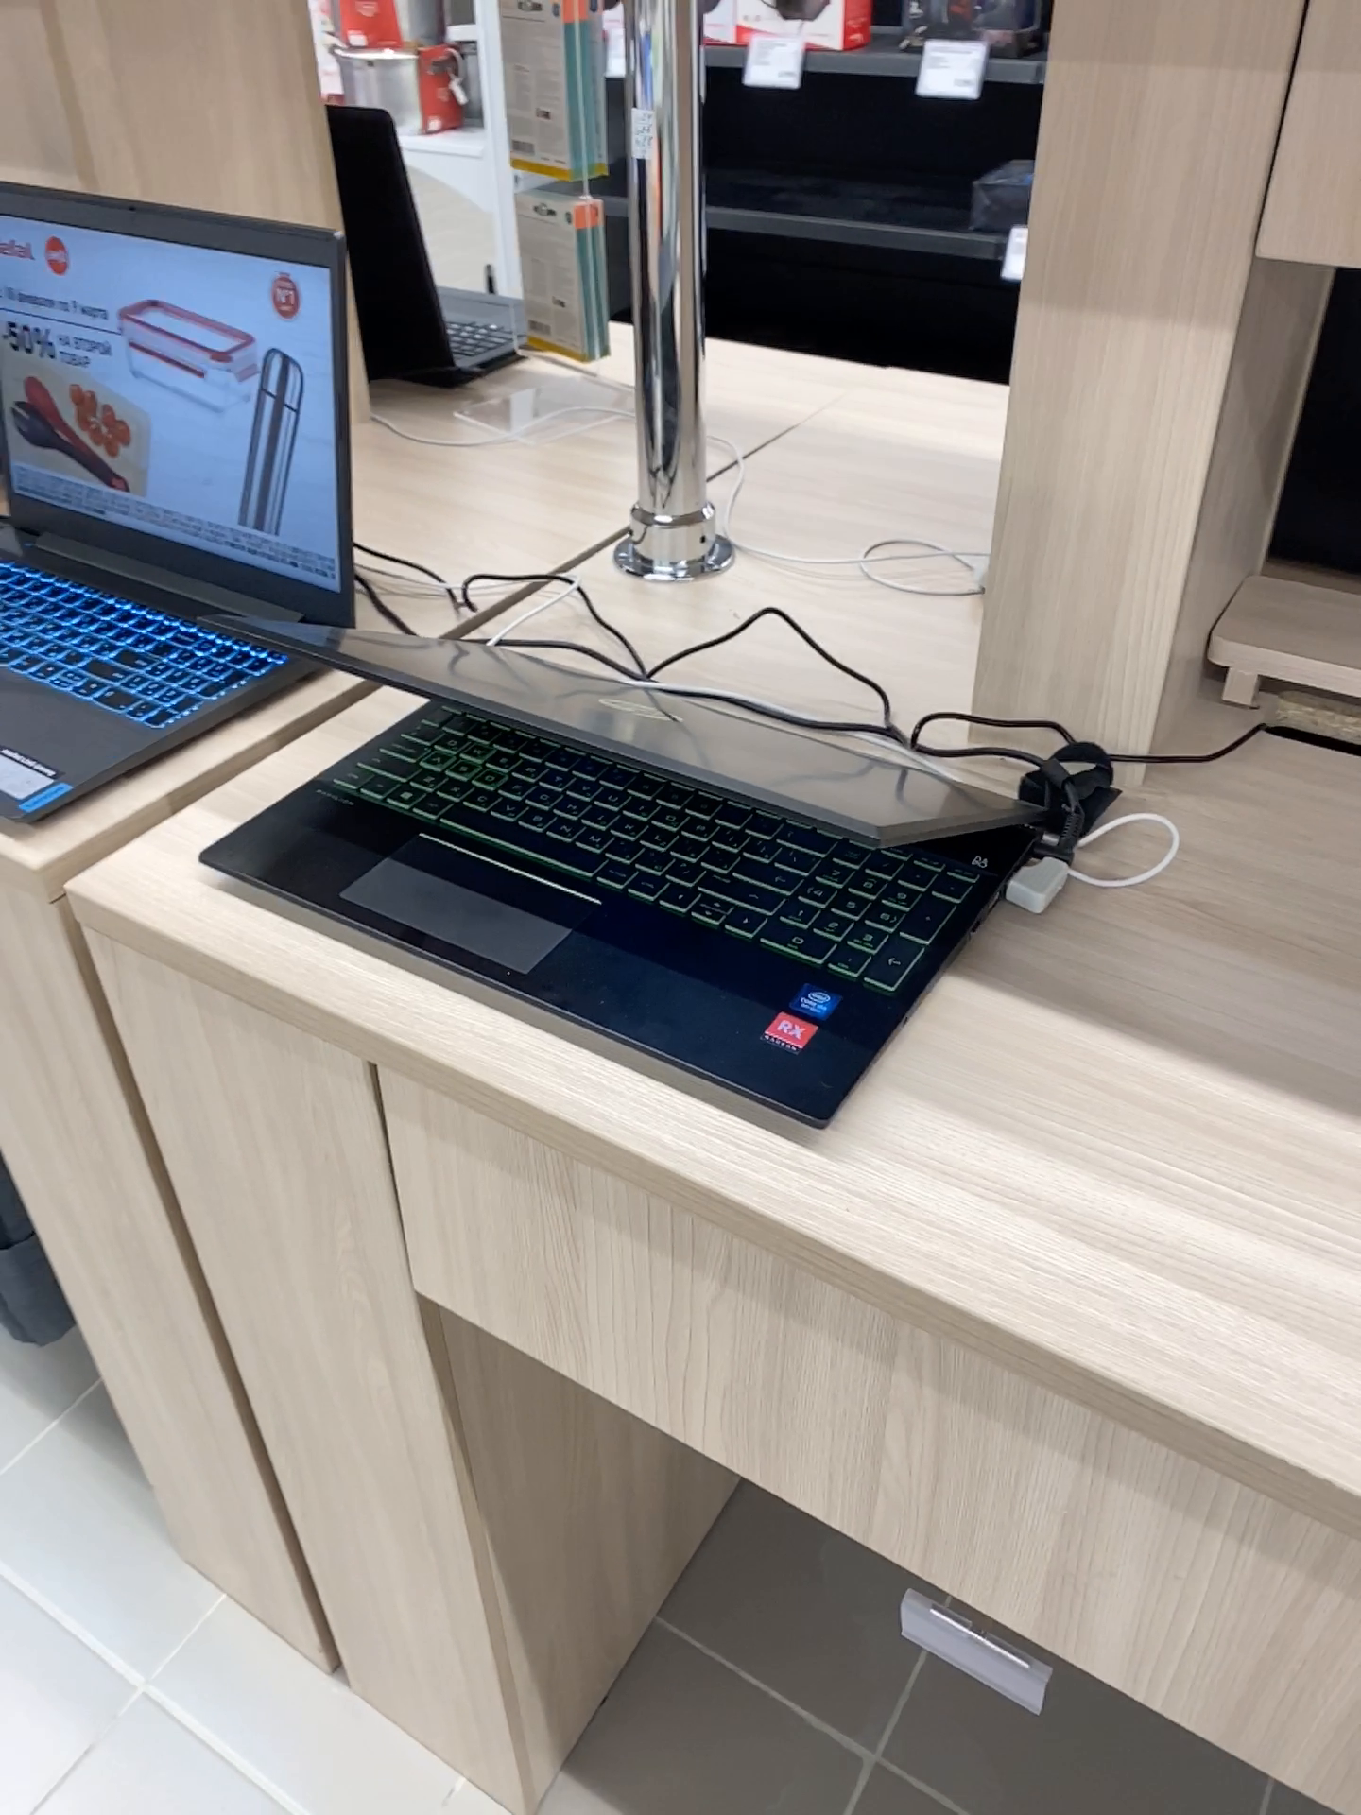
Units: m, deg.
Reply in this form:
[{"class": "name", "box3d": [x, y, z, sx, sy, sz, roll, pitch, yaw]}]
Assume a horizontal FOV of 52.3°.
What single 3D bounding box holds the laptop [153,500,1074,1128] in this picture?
[{"class": "laptop", "box3d": [-0.032, -0.075, 0.678, 0.365, 0.108, 0.235, 20, 42, 26]}]
